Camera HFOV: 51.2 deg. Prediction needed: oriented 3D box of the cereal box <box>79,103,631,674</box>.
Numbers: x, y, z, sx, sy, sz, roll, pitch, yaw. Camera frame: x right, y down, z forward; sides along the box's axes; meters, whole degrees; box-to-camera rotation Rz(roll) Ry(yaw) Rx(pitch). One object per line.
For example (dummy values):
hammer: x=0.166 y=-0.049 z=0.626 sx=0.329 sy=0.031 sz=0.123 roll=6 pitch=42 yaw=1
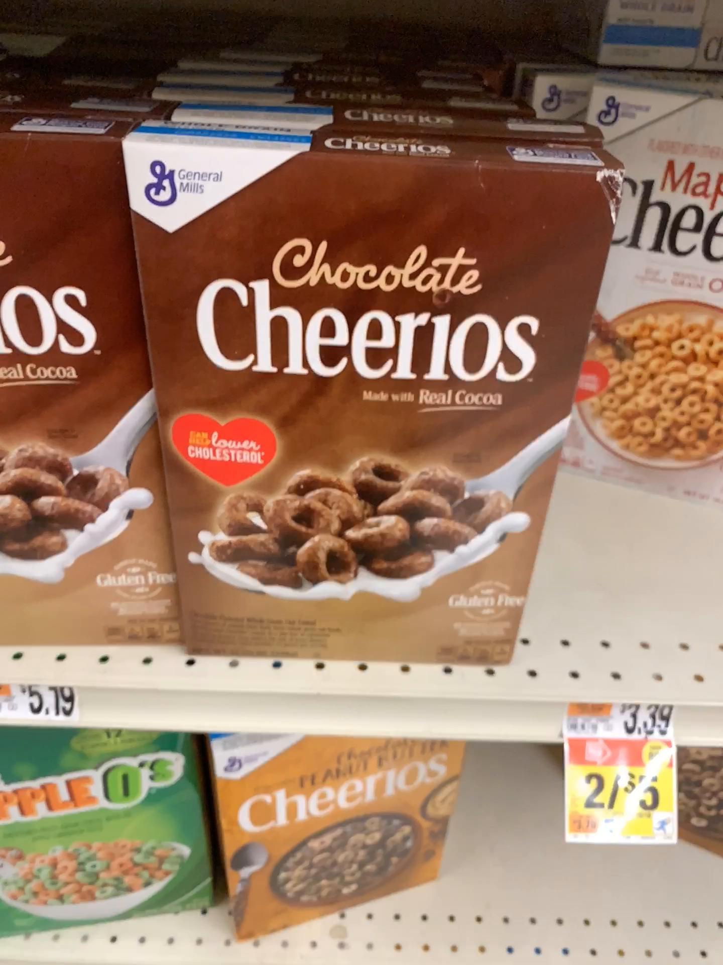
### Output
cereal box: x=-0.009 y=-0.025 z=0.400 sx=0.210 sy=0.298 sz=0.060 roll=3 pitch=37 yaw=-1
